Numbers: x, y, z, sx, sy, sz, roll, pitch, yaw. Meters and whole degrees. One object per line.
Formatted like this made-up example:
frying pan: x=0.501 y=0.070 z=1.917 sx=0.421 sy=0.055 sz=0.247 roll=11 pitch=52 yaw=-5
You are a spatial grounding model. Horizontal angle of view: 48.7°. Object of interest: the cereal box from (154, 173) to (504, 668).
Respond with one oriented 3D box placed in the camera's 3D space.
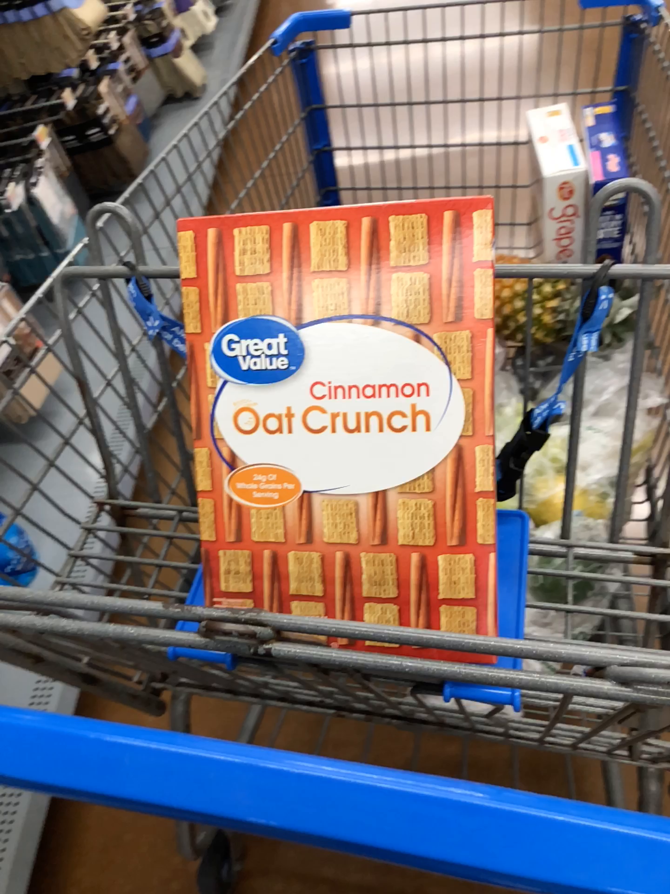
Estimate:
cereal box: x=0.003 y=-0.013 z=0.470 sx=0.200 sy=0.280 sz=0.070 roll=0 pitch=9 yaw=11
